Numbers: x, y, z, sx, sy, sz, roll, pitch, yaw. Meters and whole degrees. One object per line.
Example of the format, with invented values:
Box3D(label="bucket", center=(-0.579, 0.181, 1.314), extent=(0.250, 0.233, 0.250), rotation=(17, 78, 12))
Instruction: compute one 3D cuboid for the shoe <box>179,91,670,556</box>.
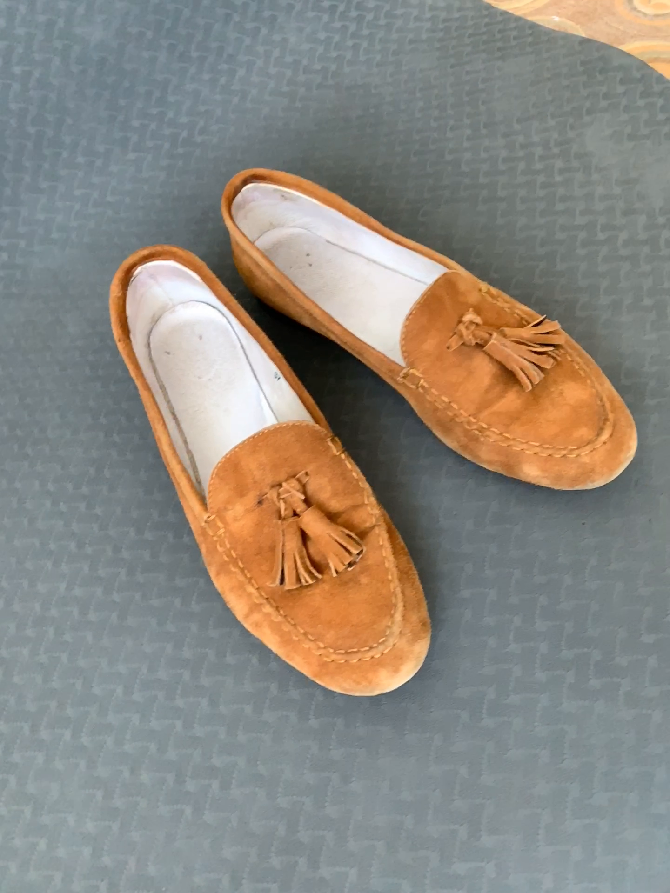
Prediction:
Box3D(label="shoe", center=(0.047, -0.066, 0.345), extent=(0.240, 0.090, 0.090), rotation=(38, 77, 22))

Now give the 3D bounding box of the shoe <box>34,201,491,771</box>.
Box3D(label="shoe", center=(-0.037, 0.012, 0.315), extent=(0.090, 0.090, 0.230), rotation=(-31, 65, -5))
